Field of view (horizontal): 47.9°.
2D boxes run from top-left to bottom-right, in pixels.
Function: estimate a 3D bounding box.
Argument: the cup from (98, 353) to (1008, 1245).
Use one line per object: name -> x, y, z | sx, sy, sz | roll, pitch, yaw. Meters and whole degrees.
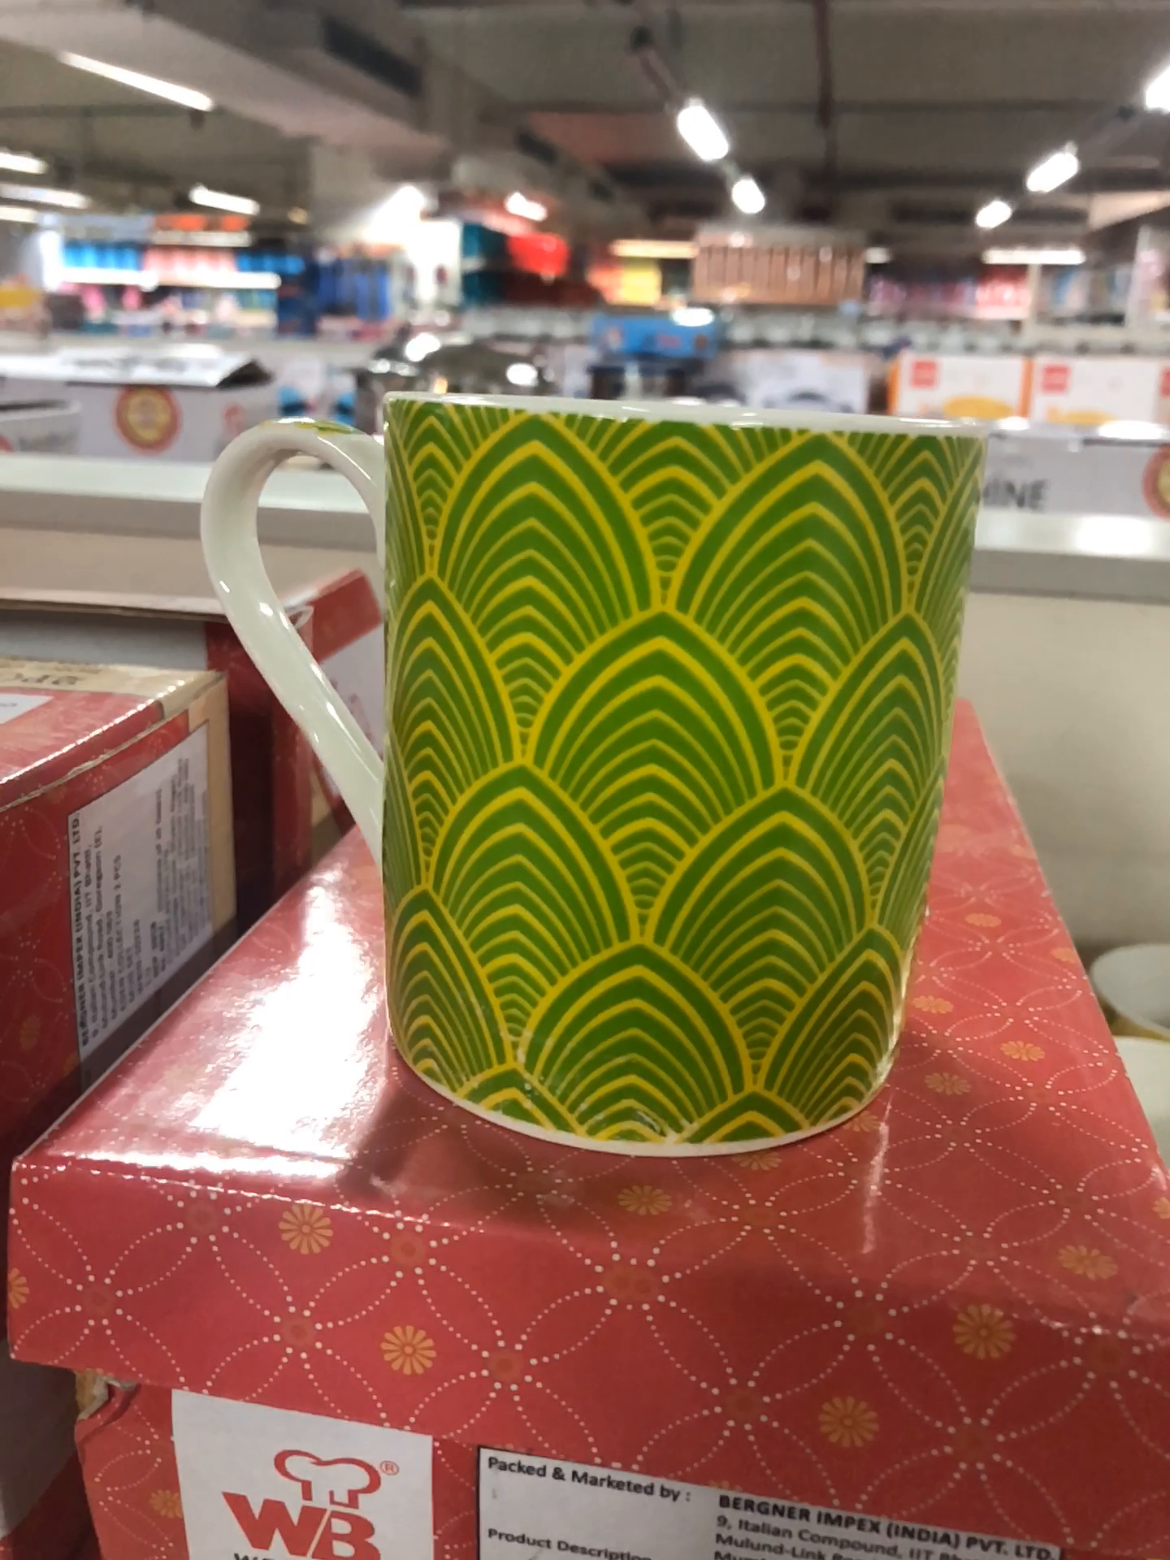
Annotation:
cup -> 0.000, -0.007, 0.172 | 0.090, 0.090, 0.070 | 6, 17, 12
